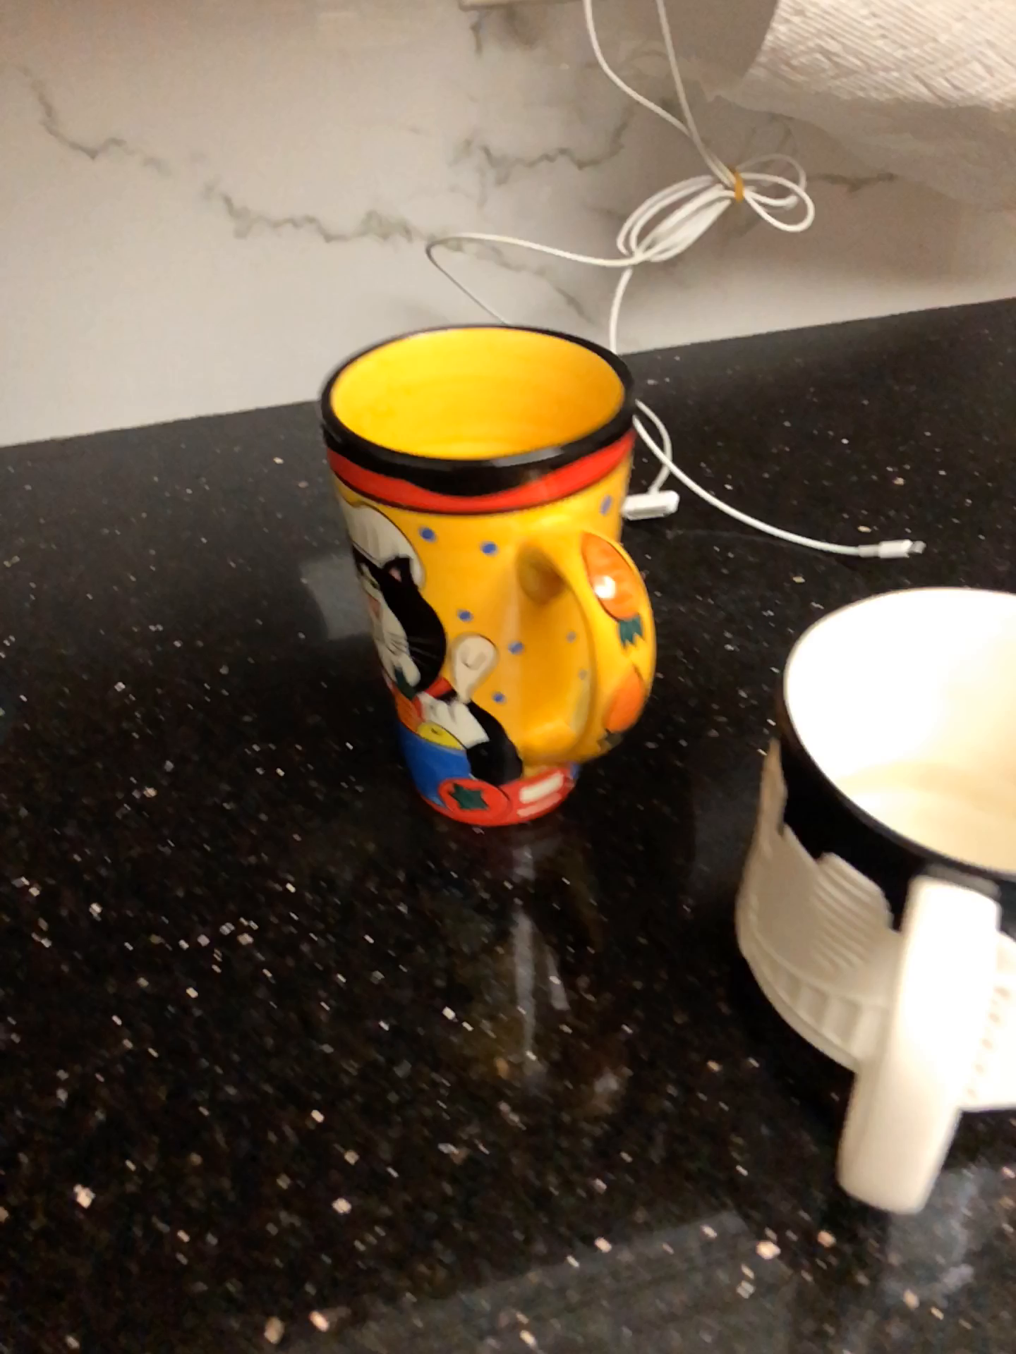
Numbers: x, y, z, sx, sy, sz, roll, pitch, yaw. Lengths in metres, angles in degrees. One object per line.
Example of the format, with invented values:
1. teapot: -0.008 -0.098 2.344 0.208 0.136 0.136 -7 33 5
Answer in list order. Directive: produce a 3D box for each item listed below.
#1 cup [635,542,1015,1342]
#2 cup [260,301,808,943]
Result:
1. cup: 0.115 0.055 0.289 0.110 0.099 0.141 19 43 24
2. cup: 0.003 -0.023 0.346 0.090 0.129 0.131 -25 44 -26
